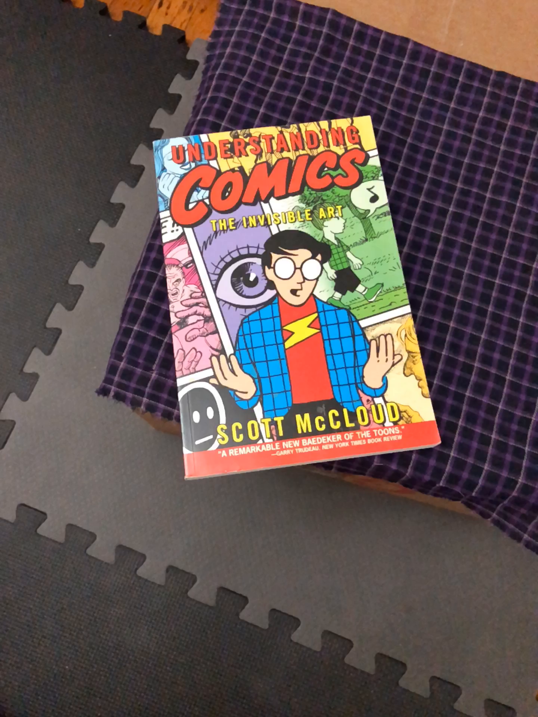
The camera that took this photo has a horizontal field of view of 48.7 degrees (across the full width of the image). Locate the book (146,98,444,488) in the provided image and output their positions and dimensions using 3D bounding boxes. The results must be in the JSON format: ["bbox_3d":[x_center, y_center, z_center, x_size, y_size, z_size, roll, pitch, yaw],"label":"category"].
[{"bbox_3d":[0.010,-0.057,0.423,0.170,0.020,0.270,-7,74,-3],"label":"book"}]
